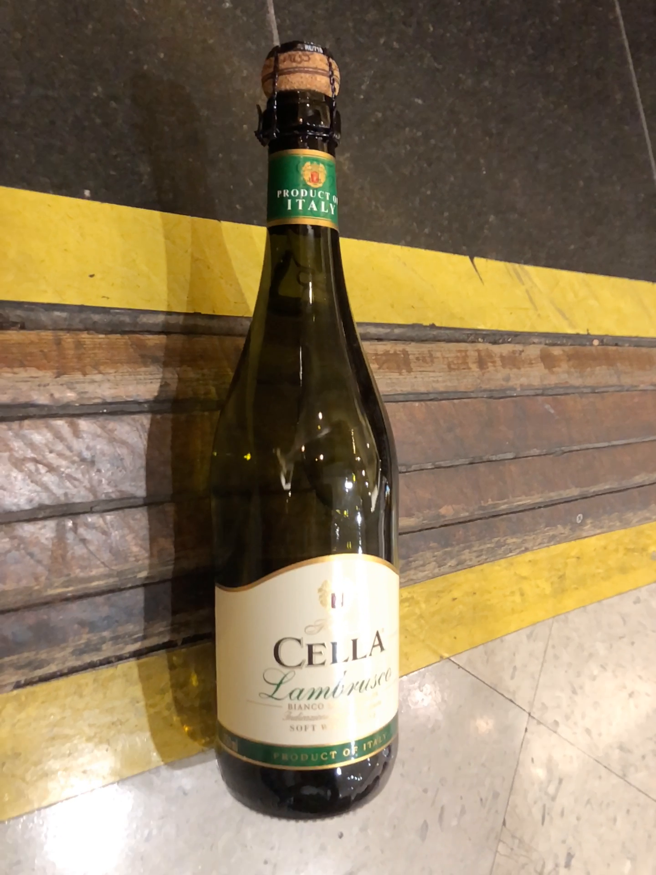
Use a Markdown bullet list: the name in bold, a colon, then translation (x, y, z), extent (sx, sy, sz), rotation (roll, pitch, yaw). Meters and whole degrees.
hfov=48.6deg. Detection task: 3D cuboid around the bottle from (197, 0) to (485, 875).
- **bottle**: translation (0.003, 0.001, 0.297), extent (0.091, 0.060, 0.310), rotation (-3, 97, -39)
